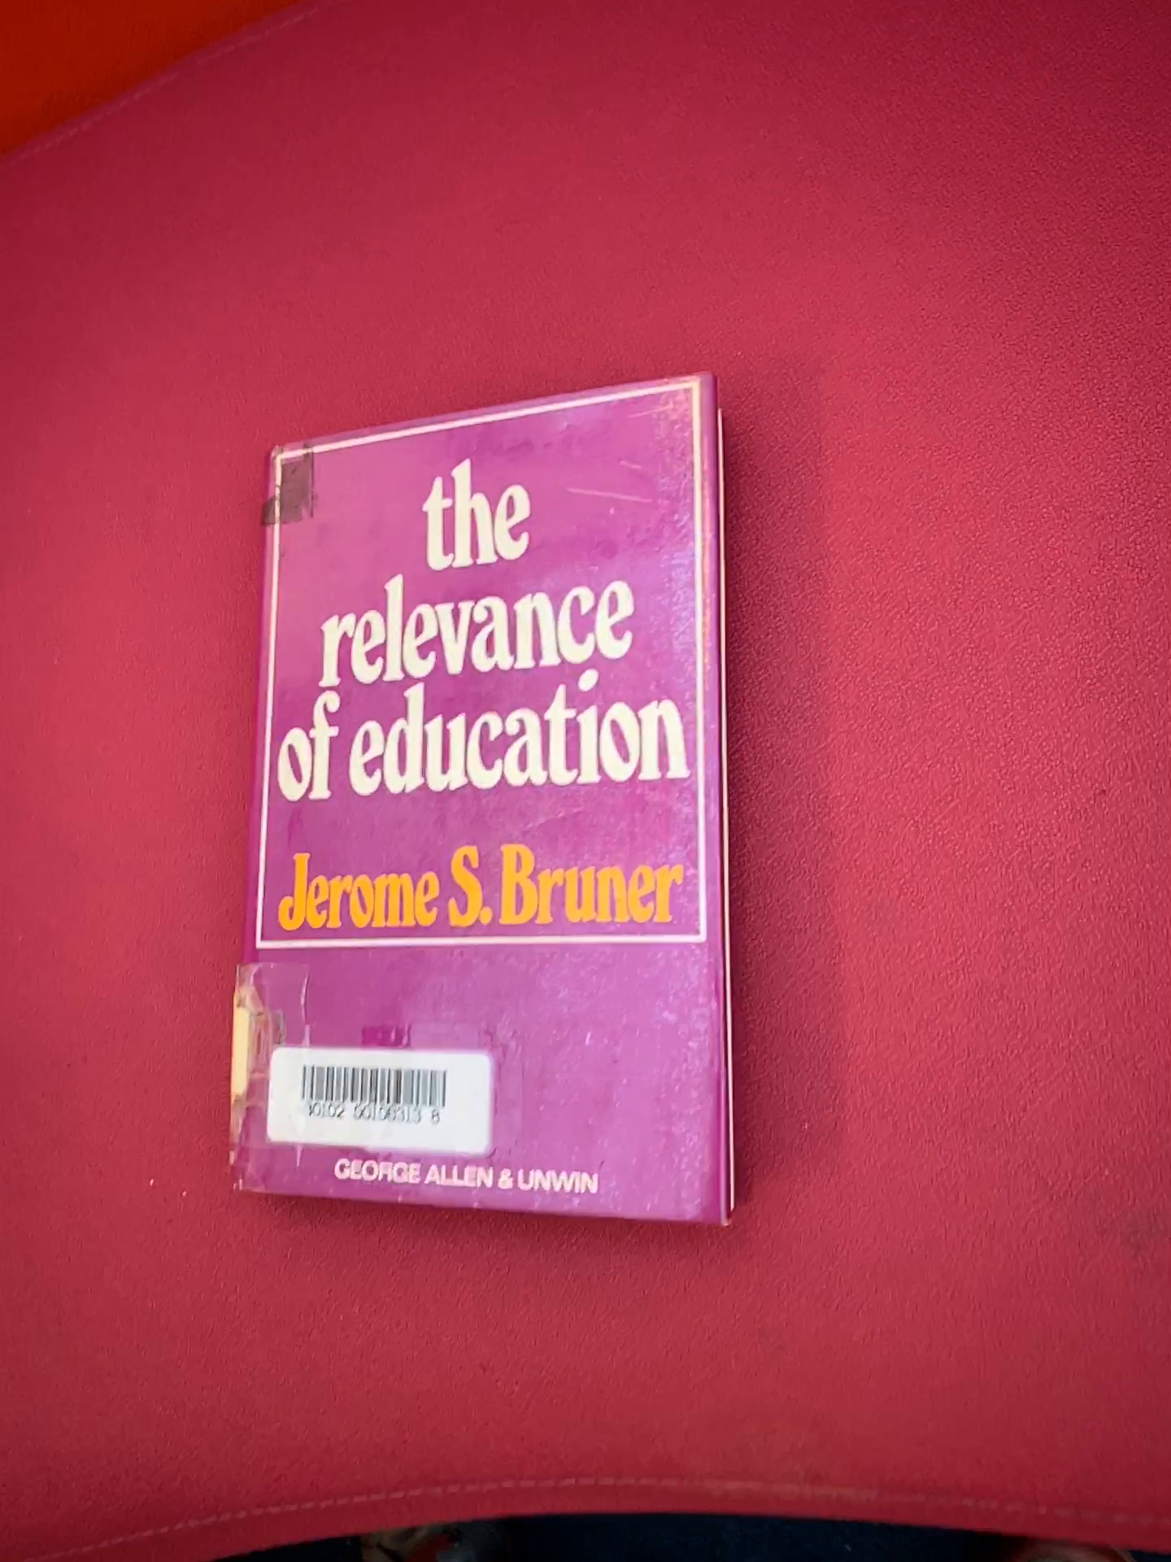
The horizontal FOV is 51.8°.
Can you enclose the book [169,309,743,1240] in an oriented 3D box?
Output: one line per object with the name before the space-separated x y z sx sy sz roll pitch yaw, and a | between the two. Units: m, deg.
book | -0.037 -0.001 0.339 0.150 0.040 0.230 -4 80 20
